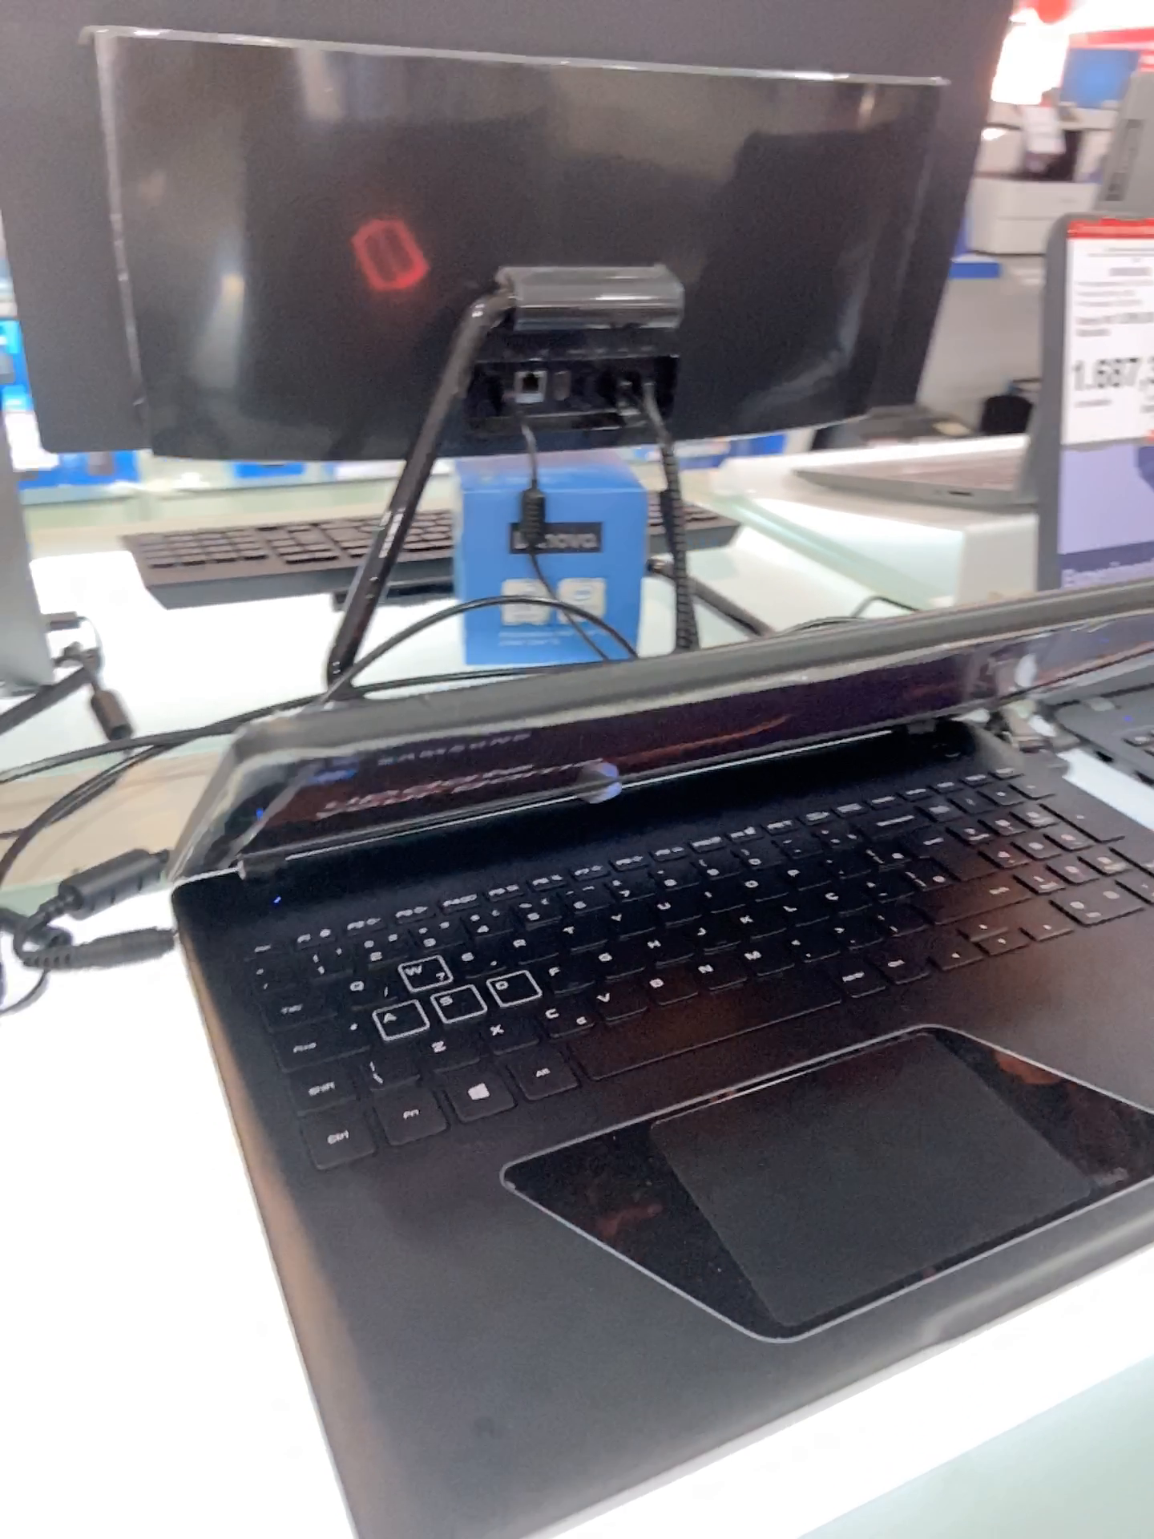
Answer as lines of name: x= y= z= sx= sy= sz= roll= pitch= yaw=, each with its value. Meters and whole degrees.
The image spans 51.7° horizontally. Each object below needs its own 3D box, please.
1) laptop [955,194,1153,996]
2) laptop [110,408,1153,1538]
laptop: x=0.458 y=-0.126 z=0.560 sx=0.413 sy=0.234 sz=0.308 roll=-10 pitch=29 yaw=-25
laptop: x=0.075 y=-0.003 z=0.369 sx=0.368 sy=0.152 sz=0.259 roll=-11 pitch=29 yaw=-23
